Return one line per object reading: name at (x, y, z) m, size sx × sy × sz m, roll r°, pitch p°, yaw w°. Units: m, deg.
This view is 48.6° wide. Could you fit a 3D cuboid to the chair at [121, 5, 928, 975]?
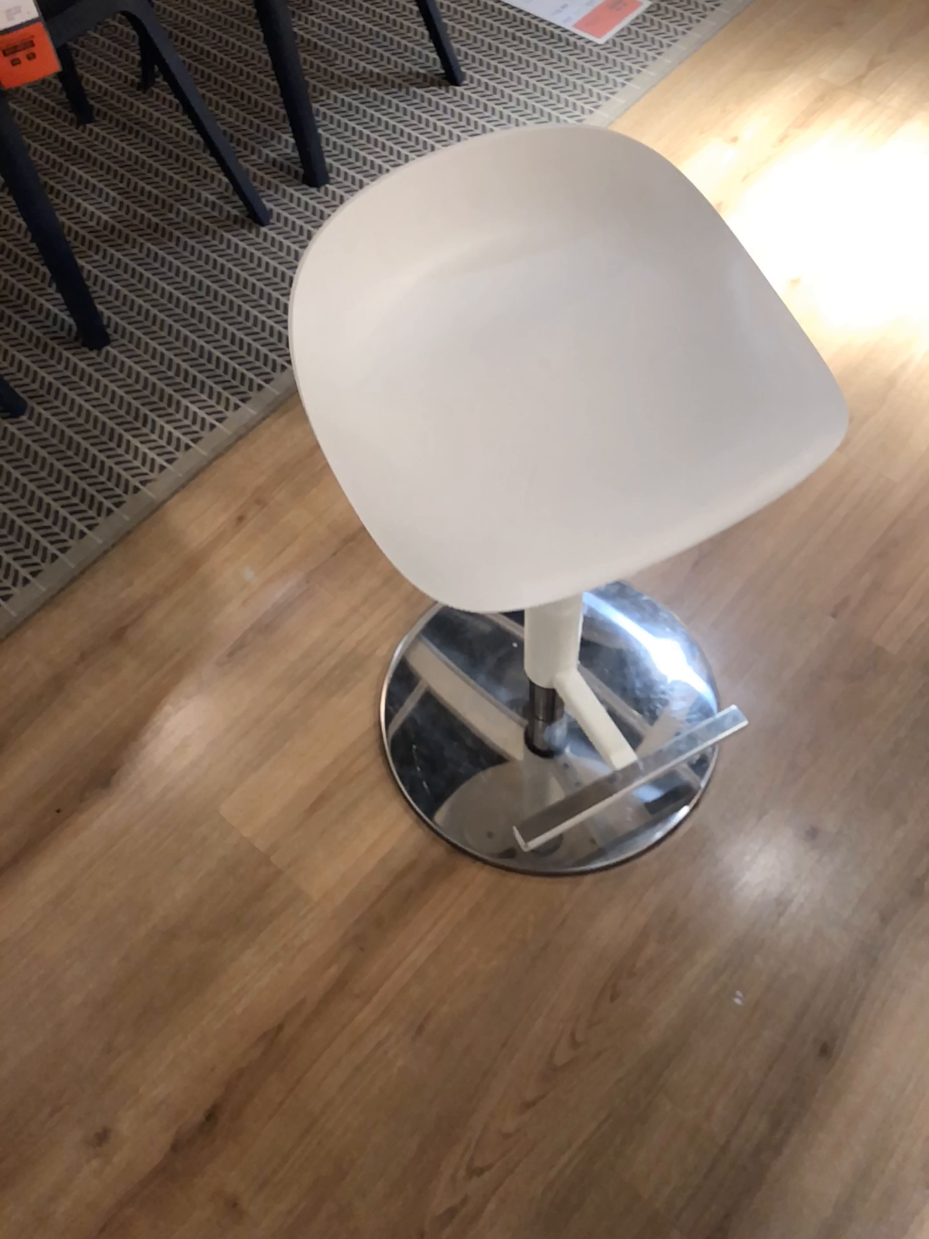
chair at (0.077, -0.054, 0.980) m, size 0.440 × 0.699 × 0.450 m, roll -29°, pitch 62°, yaw -14°
